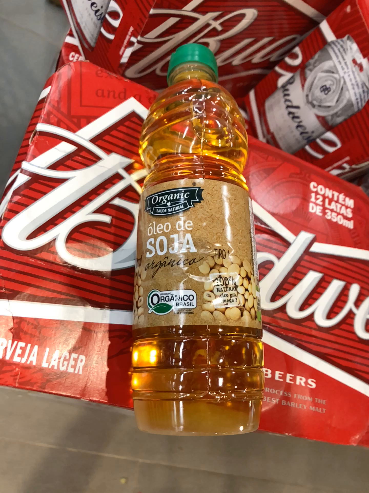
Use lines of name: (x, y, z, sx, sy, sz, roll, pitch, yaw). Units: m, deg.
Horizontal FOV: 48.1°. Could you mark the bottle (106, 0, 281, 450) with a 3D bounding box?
bottle: (0.007, -0.028, 0.226, 0.060, 0.060, 0.240, 29, 57, -57)
